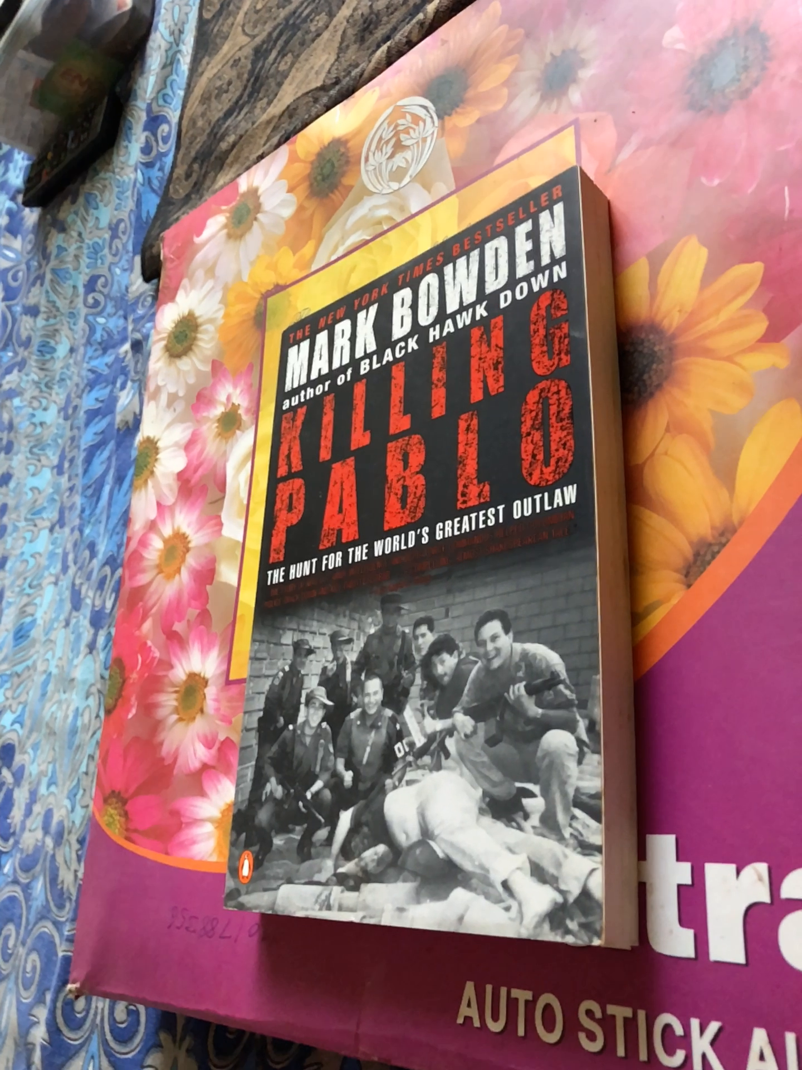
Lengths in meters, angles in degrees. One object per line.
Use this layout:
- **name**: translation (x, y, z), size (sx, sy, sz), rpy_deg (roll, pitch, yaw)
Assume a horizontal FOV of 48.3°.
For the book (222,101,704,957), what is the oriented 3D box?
- **book**: translation (0.013, -0.001, 0.284), size (0.151, 0.030, 0.230), rpy_deg (-19, 59, 44)
